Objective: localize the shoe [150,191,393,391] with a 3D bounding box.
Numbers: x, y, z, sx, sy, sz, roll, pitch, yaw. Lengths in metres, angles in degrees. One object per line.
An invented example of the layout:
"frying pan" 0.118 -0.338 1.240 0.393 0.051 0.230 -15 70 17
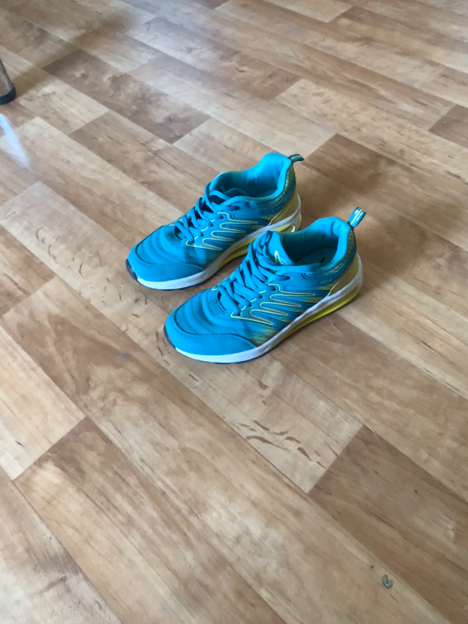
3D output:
"shoe" 0.043 -0.025 0.564 0.240 0.120 0.100 -24 59 -11

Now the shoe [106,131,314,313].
"shoe" -0.026 -0.118 0.628 0.230 0.120 0.100 -28 62 -15
